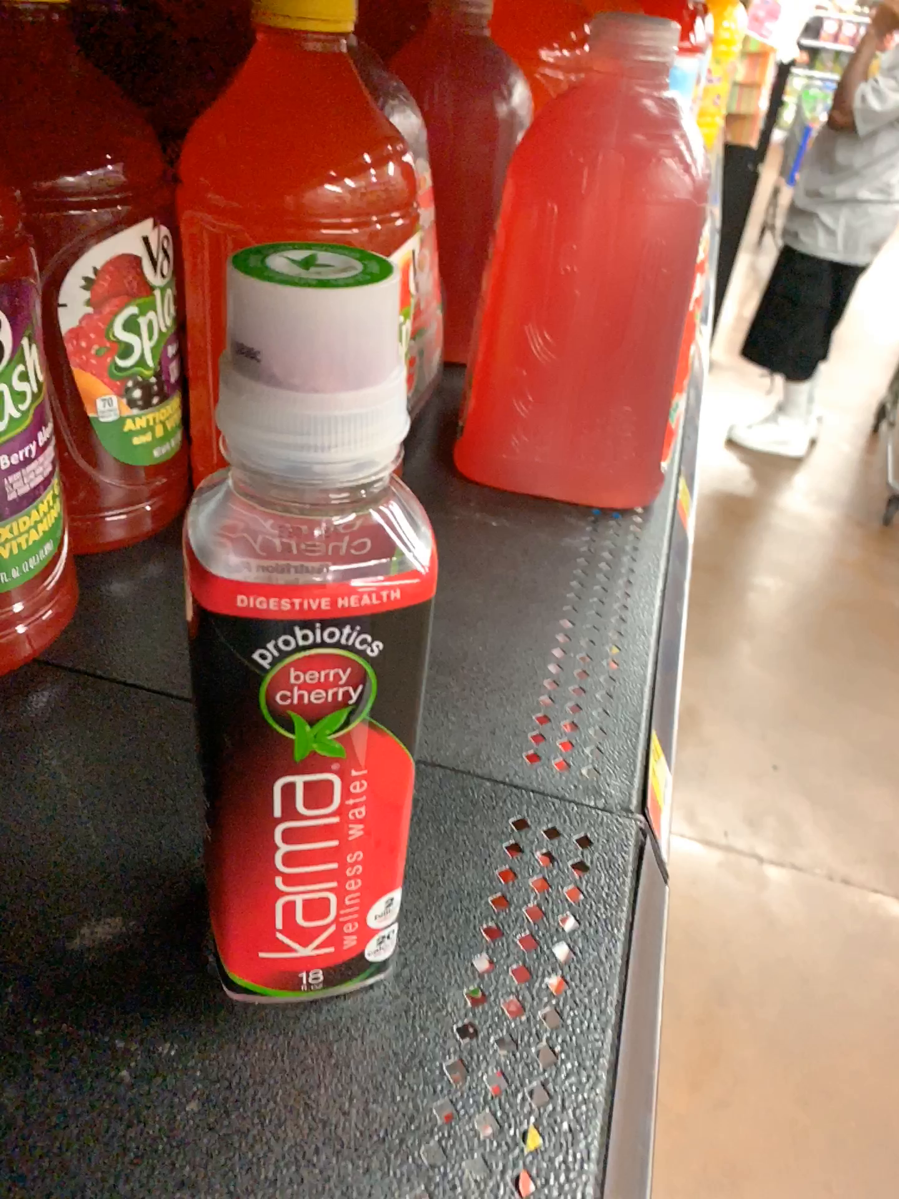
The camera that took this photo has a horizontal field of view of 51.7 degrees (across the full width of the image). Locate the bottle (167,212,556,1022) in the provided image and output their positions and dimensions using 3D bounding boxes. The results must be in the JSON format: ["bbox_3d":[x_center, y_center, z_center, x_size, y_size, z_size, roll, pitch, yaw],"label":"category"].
[{"bbox_3d":[-0.034,0.017,0.249,0.068,0.209,0.070,6,35,-4],"label":"bottle"}]
